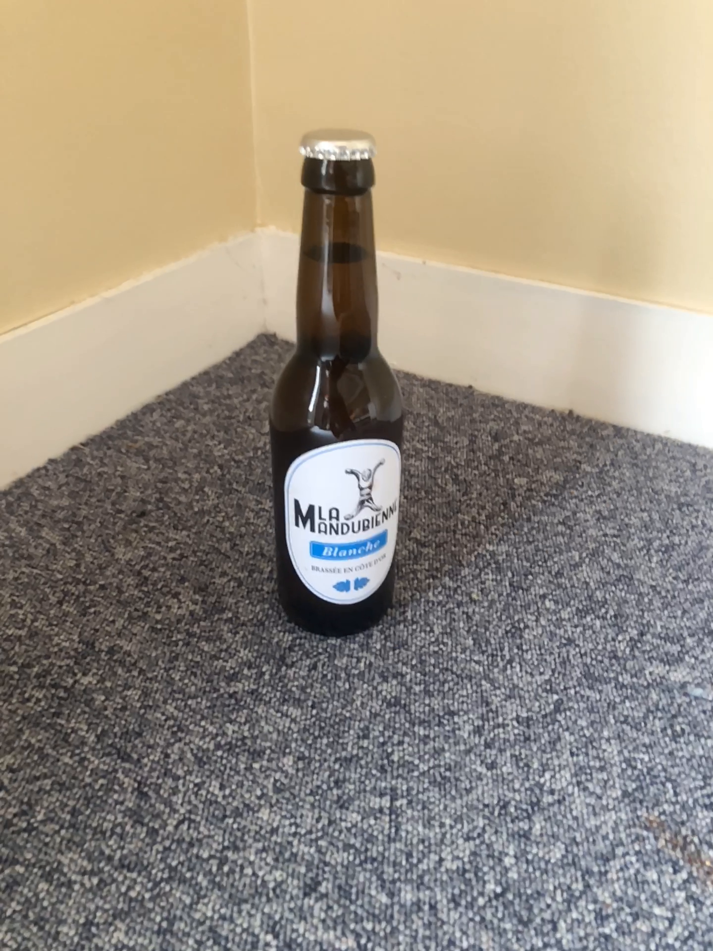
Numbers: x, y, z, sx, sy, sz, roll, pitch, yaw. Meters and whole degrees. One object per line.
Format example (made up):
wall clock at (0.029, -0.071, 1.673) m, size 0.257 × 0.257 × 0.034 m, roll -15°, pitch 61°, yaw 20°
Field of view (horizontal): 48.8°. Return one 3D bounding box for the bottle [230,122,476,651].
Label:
bottle at (-0.006, -0.032, 0.338) m, size 0.070 × 0.209 × 0.070 m, roll 1°, pitch 33°, yaw -1°
